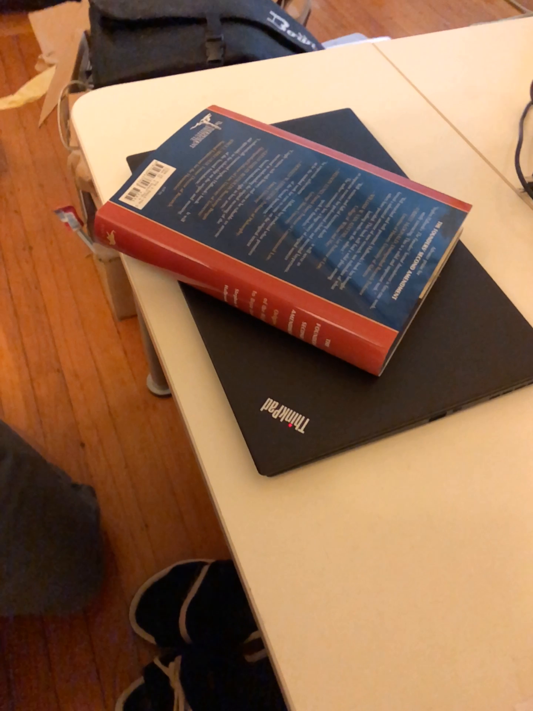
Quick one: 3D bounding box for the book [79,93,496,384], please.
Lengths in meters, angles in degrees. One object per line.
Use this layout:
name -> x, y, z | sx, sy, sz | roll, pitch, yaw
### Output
book -> 0.017, -0.102, 0.430 | 0.240, 0.040, 0.171 | 27, 56, 18
